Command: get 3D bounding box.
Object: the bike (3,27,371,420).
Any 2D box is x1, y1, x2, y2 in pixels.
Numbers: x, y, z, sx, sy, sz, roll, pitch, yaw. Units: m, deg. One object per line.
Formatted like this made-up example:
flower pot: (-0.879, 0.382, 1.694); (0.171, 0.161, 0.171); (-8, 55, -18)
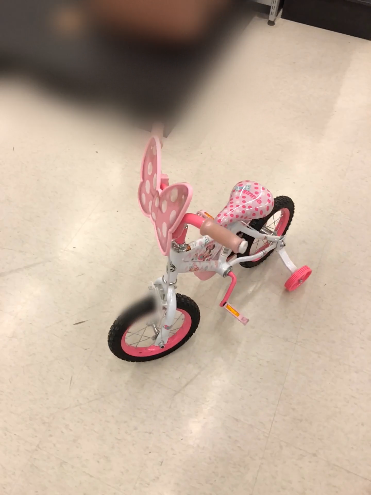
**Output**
bike: (0.079, -0.050, 1.155); (0.775, 0.681, 0.511); (-35, 64, -22)
